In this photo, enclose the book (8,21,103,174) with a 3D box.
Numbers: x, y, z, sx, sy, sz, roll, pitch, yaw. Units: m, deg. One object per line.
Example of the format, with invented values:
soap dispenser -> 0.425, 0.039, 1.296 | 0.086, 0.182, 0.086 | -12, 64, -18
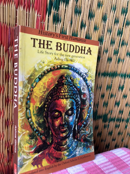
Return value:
book -> -0.009, 0.023, 0.229 | 0.146, 0.207, 0.030 | 0, 2, -30
